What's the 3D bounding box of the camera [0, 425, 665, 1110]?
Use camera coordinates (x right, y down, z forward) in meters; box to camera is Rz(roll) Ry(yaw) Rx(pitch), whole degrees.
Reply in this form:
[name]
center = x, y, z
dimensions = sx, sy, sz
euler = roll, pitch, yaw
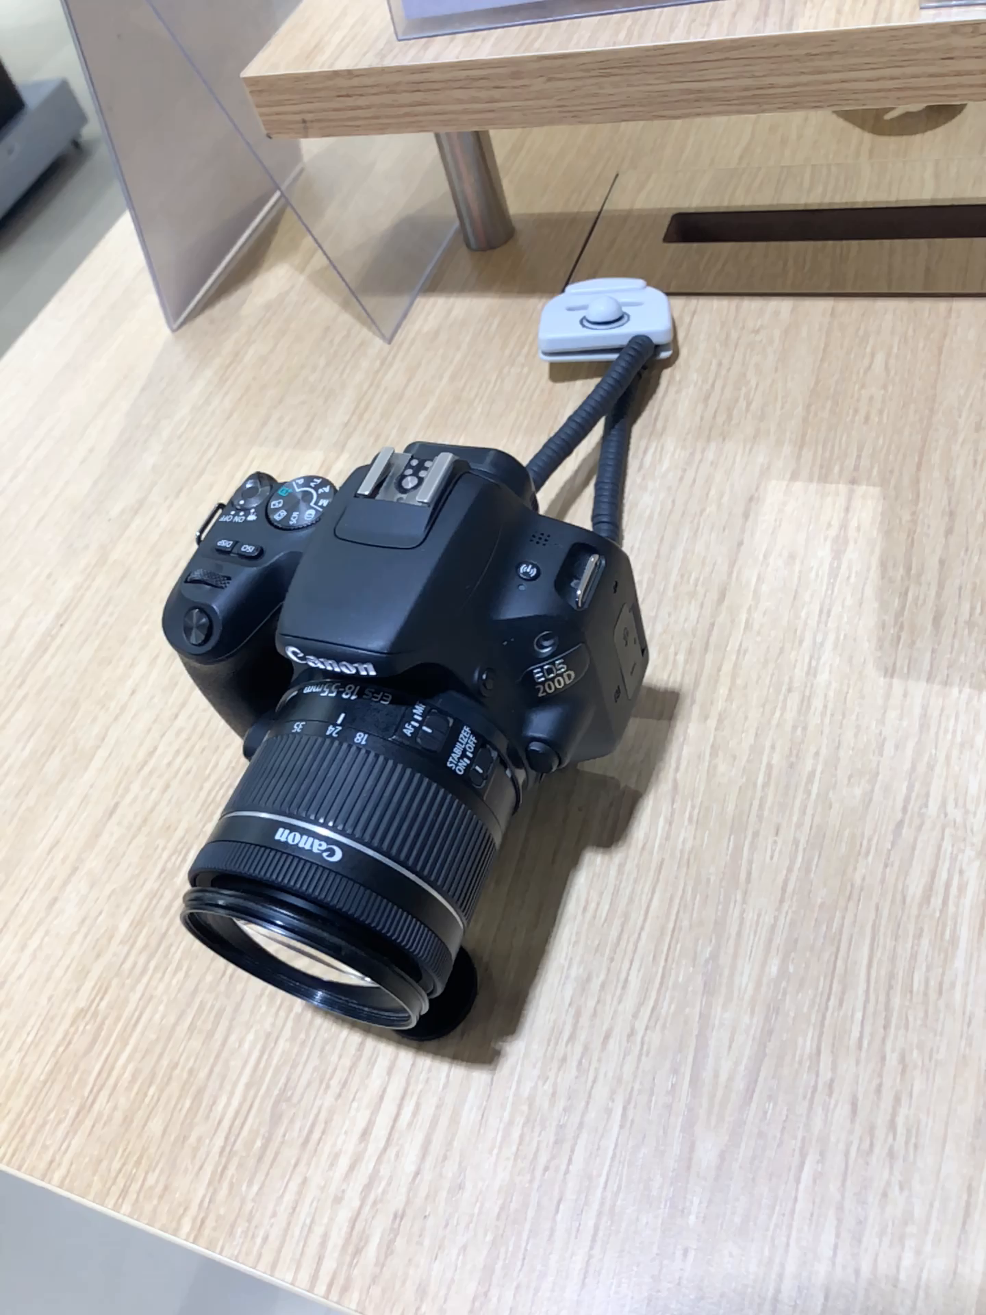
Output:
[camera]
center = -0.043, 0.018, 0.258
dimensions = 0.130, 0.080, 0.115
euler = 9, 56, 24
